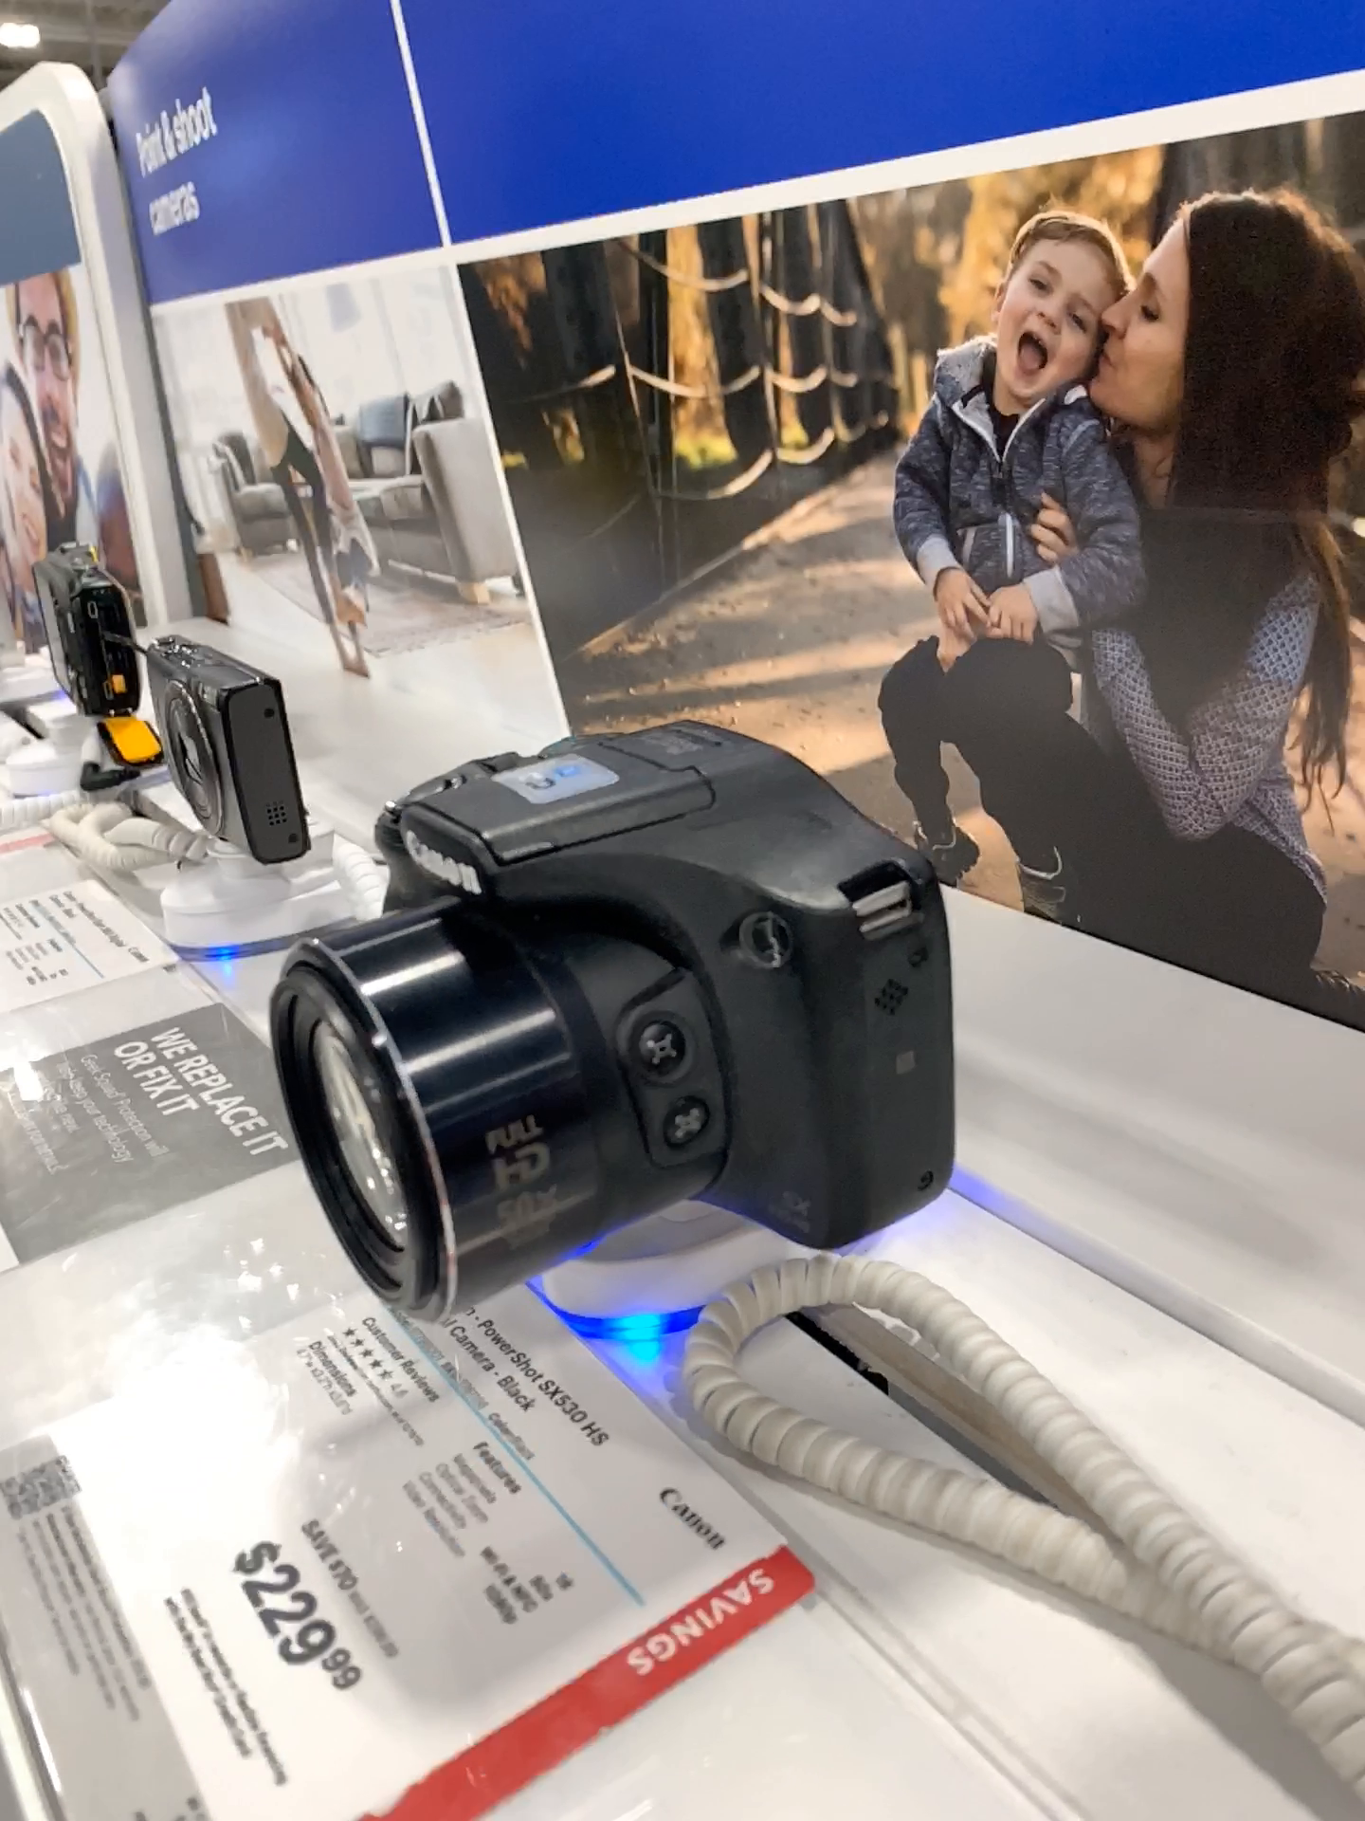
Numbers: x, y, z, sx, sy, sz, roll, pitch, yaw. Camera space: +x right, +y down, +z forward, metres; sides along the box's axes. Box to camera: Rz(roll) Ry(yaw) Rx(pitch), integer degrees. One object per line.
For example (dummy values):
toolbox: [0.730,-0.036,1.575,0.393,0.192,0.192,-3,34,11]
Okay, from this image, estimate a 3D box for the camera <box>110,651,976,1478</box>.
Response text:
camera: [-0.028,0.010,0.246,0.090,0.080,0.124,-18,27,-33]
